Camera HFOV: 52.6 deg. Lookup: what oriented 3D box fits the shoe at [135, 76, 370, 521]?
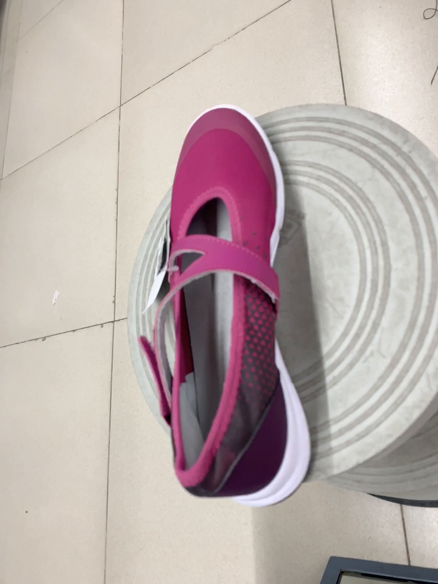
[{"bbox_3d":[0.011,0.002,0.299,0.100,0.070,0.260,-20,66,32],"label":"shoe"}]
